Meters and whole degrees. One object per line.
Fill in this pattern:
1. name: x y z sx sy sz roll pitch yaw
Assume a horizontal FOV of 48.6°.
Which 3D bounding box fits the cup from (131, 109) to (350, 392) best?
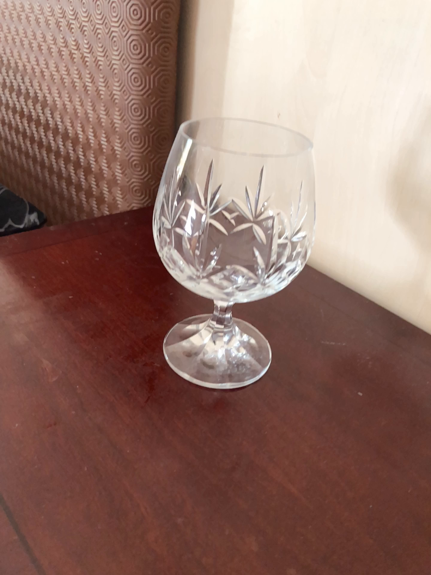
1. cup: 0.004 -0.021 0.270 0.089 0.126 0.088 7 30 -4
